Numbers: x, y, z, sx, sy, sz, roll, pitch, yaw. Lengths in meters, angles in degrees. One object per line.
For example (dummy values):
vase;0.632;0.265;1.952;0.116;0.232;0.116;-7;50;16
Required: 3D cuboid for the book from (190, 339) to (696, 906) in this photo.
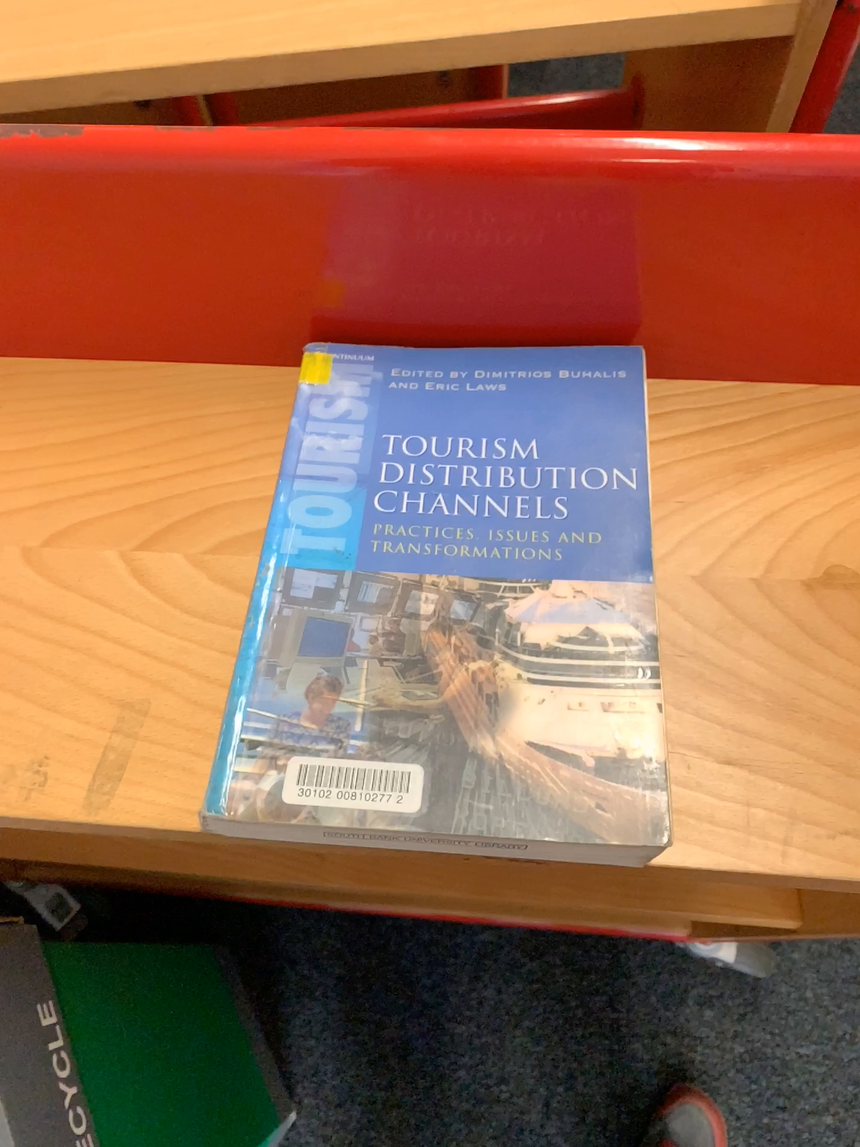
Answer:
book;0.014;0.002;0.367;0.167;0.031;0.239;4;58;4
